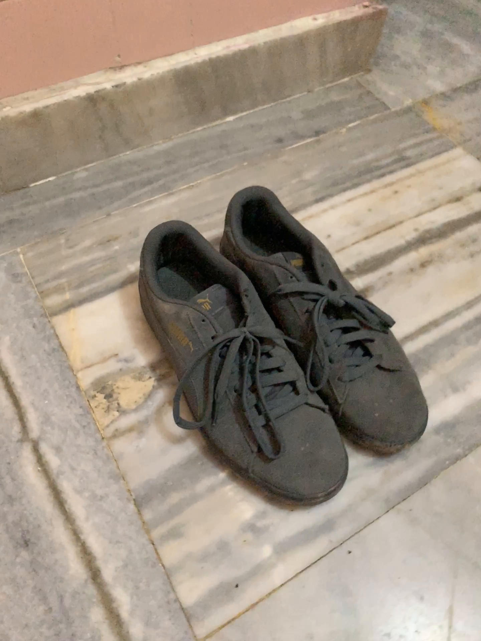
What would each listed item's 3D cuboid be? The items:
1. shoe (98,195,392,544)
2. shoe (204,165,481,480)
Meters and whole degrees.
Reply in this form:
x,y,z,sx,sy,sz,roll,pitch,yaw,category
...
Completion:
x,y,z,sx,sy,sz,roll,pitch,yaw,category
-0.013,0.029,0.450,0.110,0.100,0.290,-25,60,-18,shoe
0.083,-0.012,0.485,0.110,0.100,0.290,-25,60,-18,shoe
